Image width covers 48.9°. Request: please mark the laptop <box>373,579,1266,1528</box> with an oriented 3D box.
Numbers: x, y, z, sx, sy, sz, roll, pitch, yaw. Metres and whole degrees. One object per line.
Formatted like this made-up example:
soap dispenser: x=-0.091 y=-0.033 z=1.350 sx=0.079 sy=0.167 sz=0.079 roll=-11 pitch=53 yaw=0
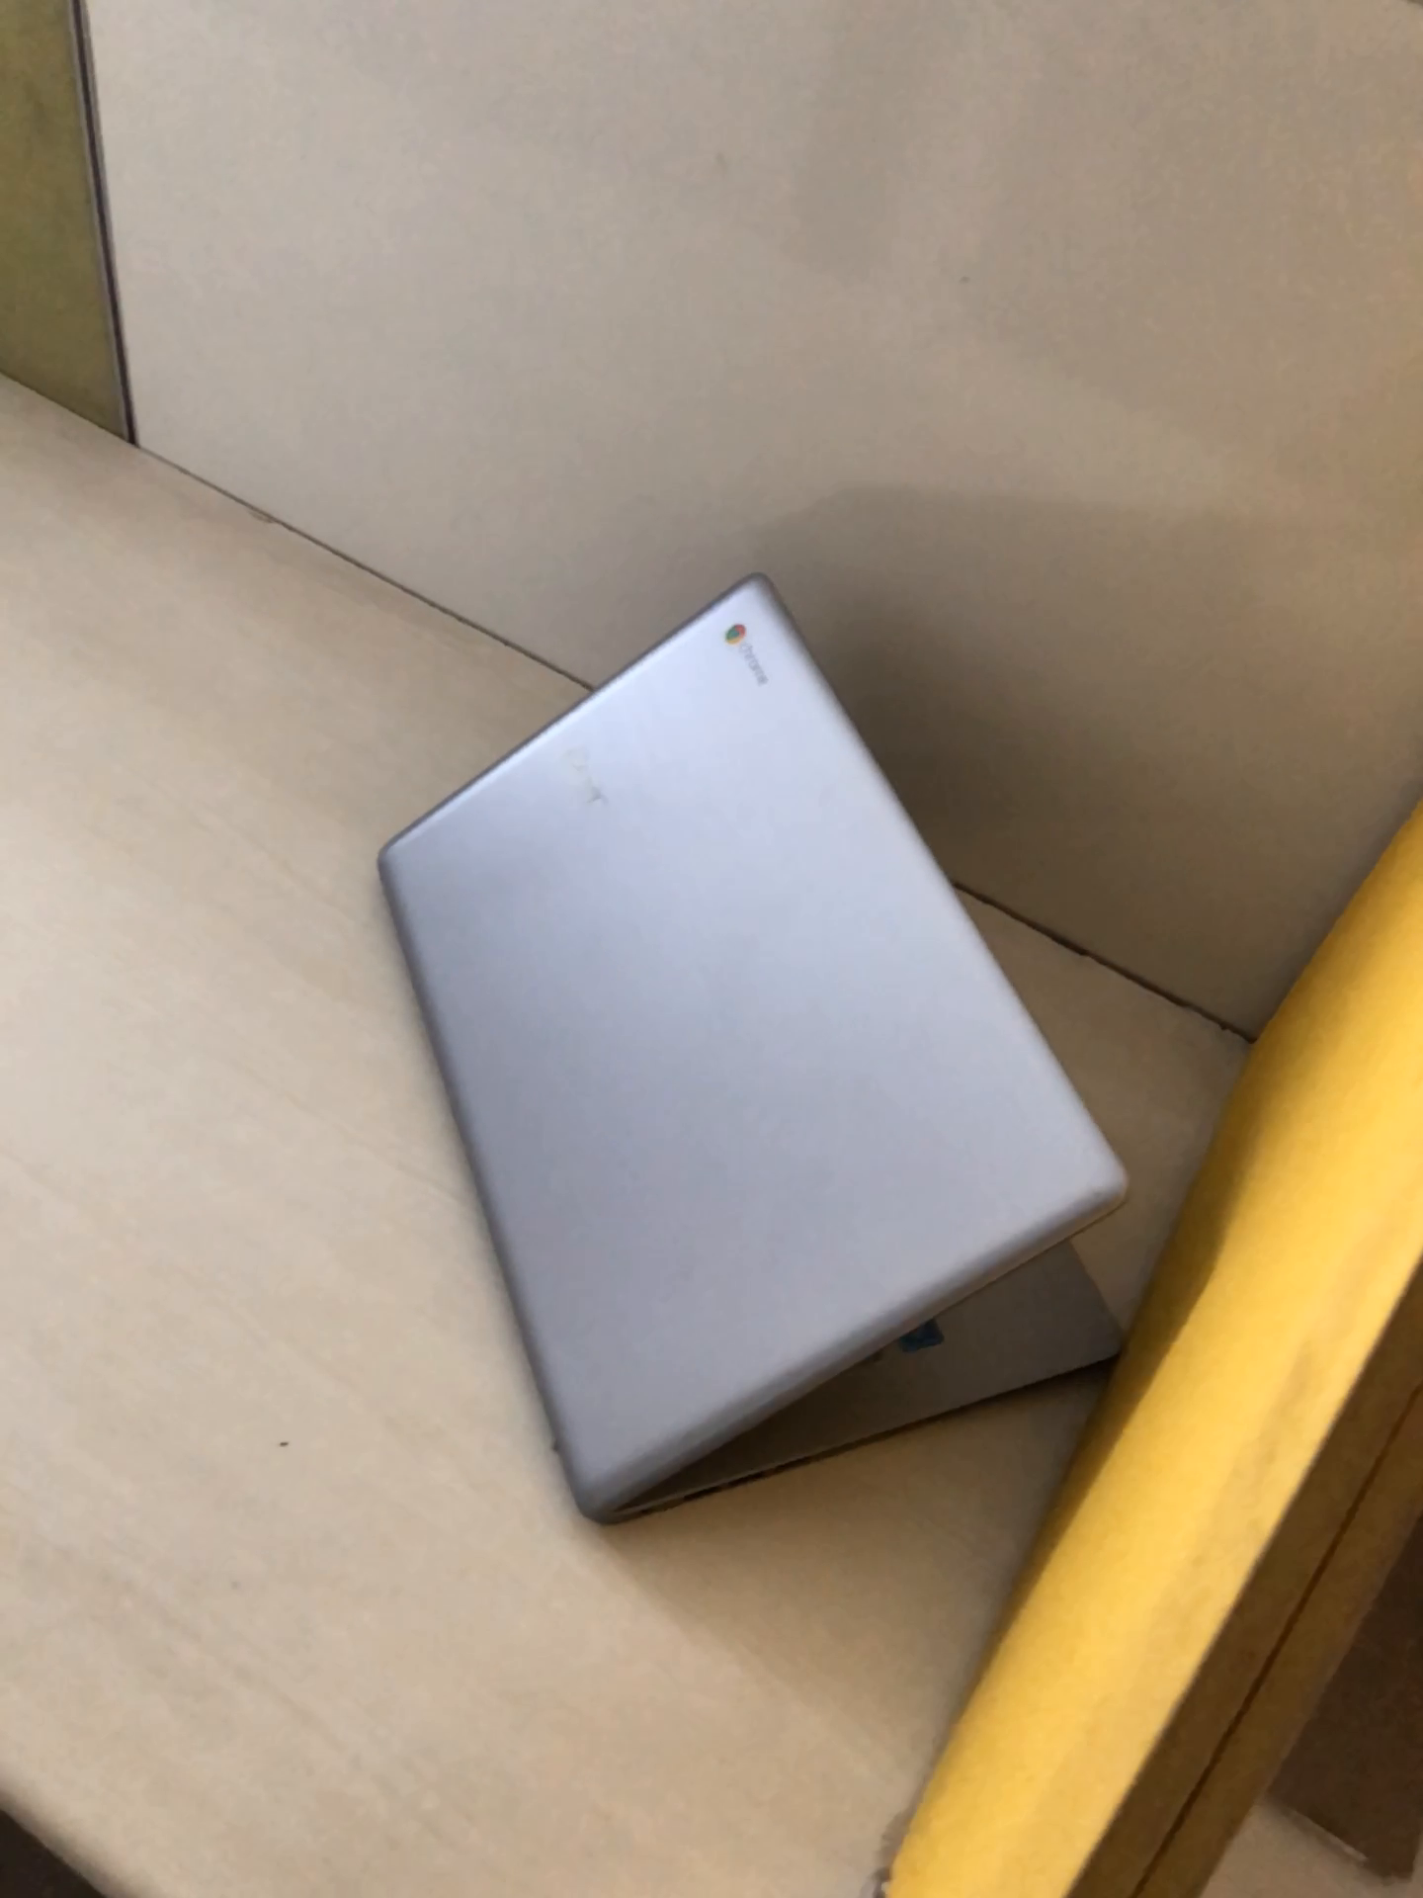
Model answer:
laptop: x=0.013 y=0.019 z=0.616 sx=0.221 sy=0.135 sz=0.316 roll=-11 pitch=54 yaw=-19
